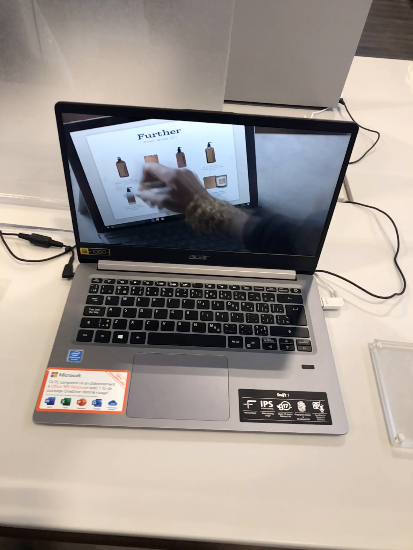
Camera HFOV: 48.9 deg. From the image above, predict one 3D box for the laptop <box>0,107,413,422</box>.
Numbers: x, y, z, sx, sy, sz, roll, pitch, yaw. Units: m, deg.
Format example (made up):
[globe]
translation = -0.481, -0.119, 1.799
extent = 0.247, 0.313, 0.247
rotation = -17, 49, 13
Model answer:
[laptop]
translation = -0.010, -0.008, 0.459
extent = 0.306, 0.205, 0.225
rotation = 3, 46, -3
